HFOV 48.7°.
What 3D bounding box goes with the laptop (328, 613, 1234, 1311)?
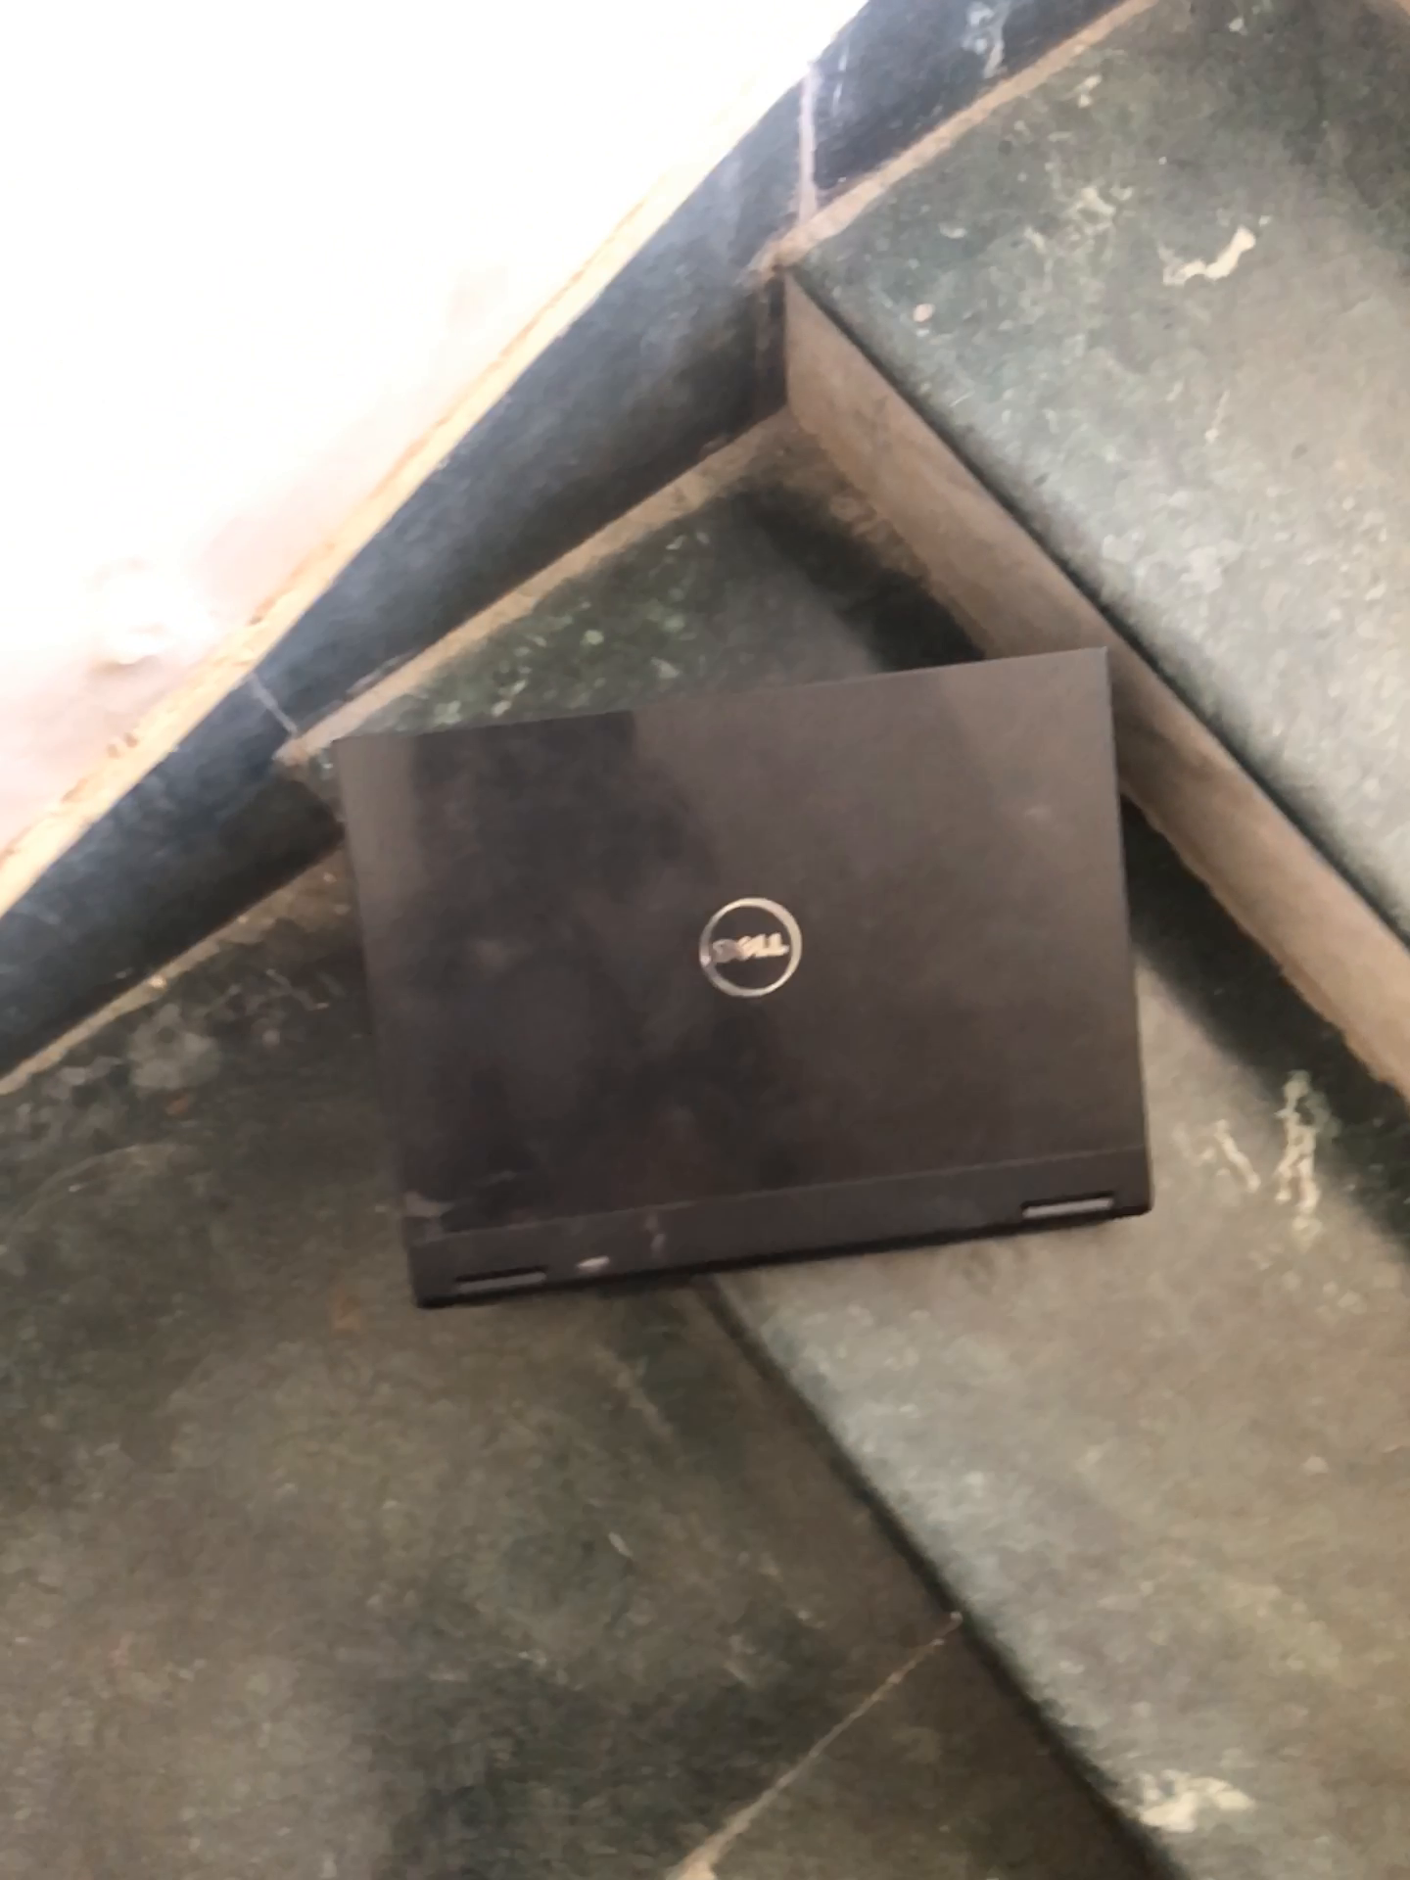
[{"bbox_3d":[0.021,0.011,0.626,0.302,0.095,0.232,-7,76,-3],"label":"laptop"}]
